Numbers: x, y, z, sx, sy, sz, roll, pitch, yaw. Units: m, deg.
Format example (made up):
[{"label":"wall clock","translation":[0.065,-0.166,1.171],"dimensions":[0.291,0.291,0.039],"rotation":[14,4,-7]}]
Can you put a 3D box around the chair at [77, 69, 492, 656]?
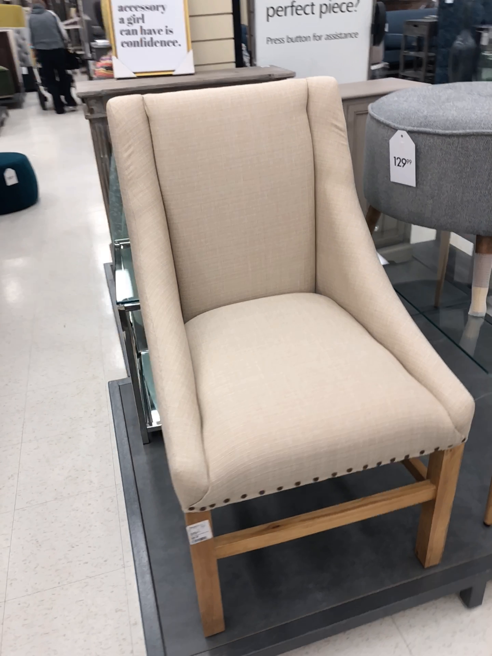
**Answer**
[{"label":"chair","translation":[0.065,0.034,1.154],"dimensions":[0.610,0.966,0.653],"rotation":[-11,32,-13]}]
